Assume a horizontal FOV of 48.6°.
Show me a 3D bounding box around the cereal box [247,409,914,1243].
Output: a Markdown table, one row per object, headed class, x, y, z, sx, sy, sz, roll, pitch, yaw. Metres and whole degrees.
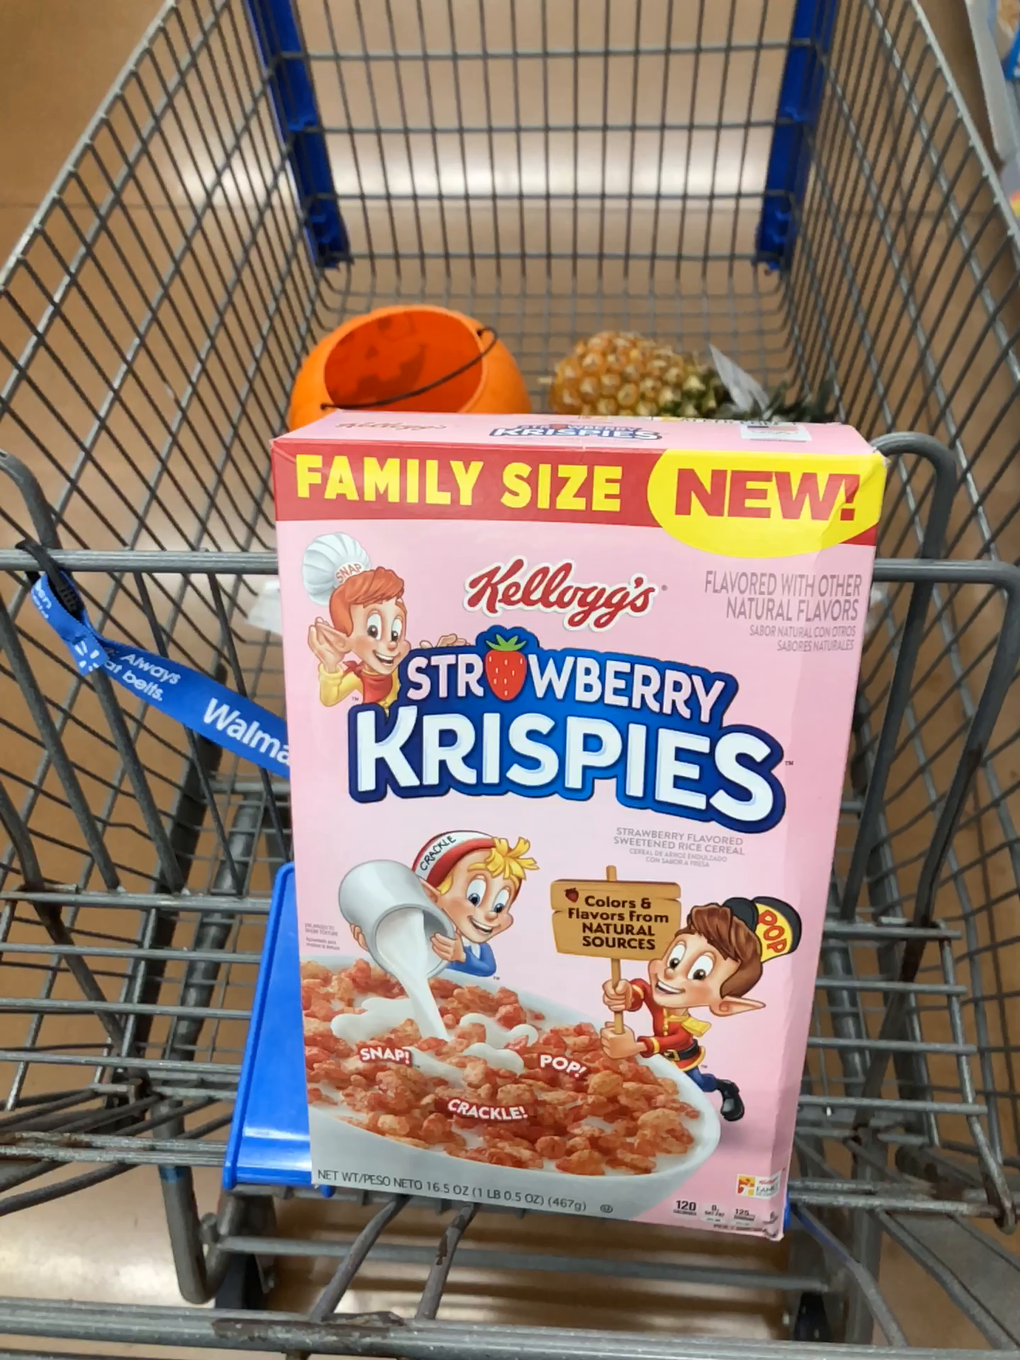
| class | x | y | z | sx | sy | sz | roll | pitch | yaw |
| --- | --- | --- | --- | --- | --- | --- | --- | --- | --- |
| cereal box | 0.019 | 0.054 | 0.421 | 0.200 | 0.290 | 0.080 | 3 | 18 | 5 |
